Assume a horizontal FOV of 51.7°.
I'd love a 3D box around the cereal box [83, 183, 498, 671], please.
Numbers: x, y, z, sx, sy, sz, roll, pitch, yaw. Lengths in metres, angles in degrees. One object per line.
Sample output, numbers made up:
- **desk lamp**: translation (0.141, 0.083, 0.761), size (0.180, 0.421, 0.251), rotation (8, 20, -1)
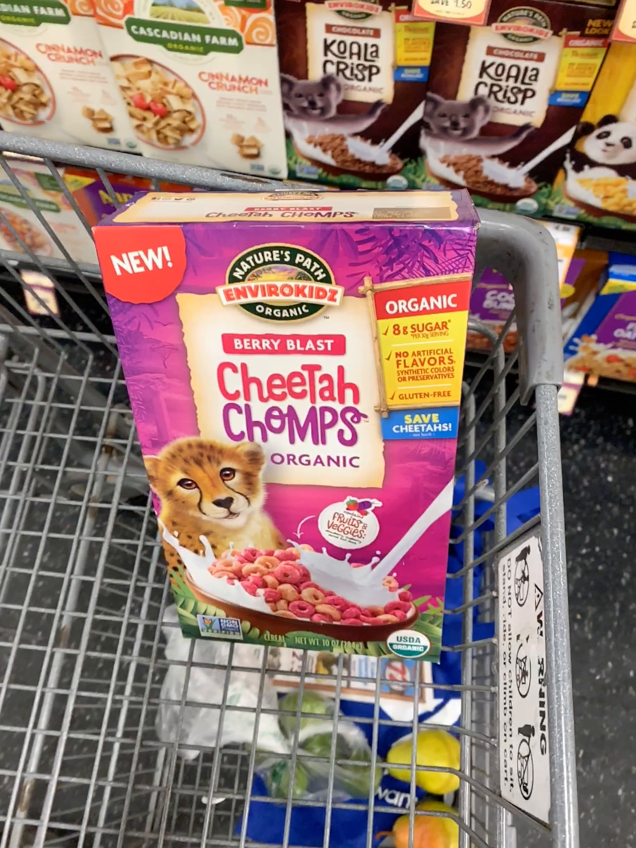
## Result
- **cereal box**: translation (-0.007, 0.012, 0.339), size (0.160, 0.250, 0.060), rotation (3, 31, 7)
